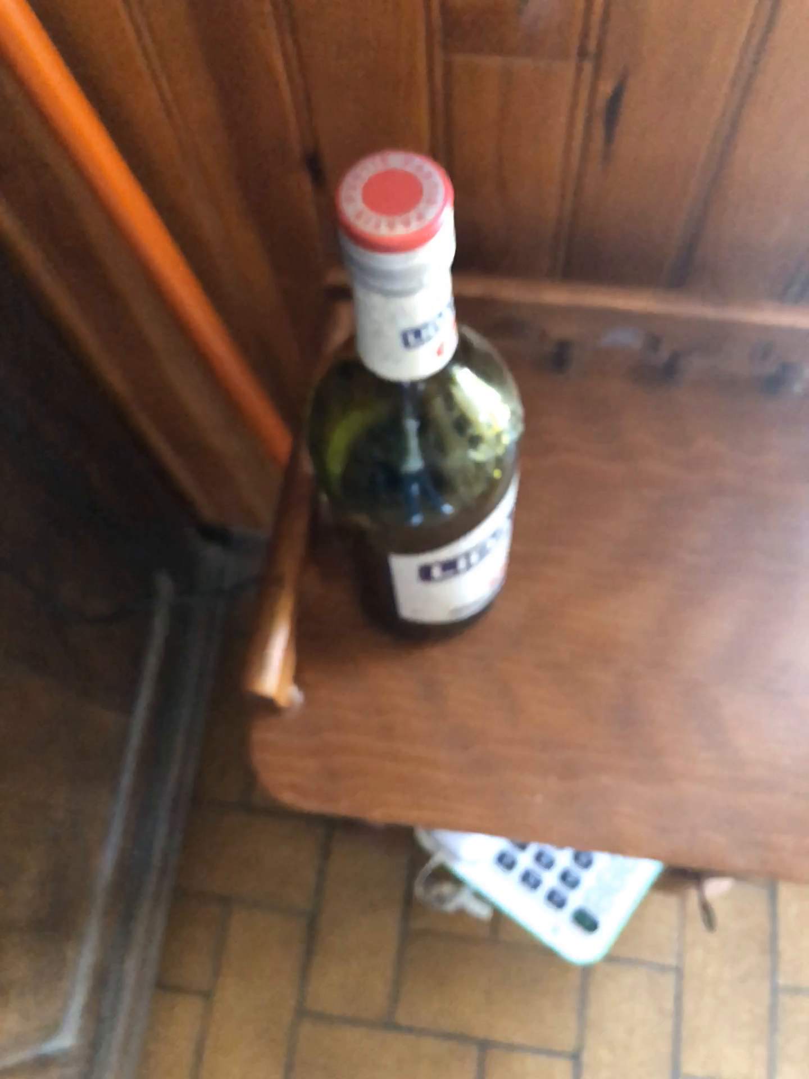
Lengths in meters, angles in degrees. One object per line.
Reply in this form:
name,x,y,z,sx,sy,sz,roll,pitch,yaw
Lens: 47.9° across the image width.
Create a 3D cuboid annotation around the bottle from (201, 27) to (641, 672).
bottle,0.013,-0.036,0.372,0.080,0.299,0.090,25,73,12
